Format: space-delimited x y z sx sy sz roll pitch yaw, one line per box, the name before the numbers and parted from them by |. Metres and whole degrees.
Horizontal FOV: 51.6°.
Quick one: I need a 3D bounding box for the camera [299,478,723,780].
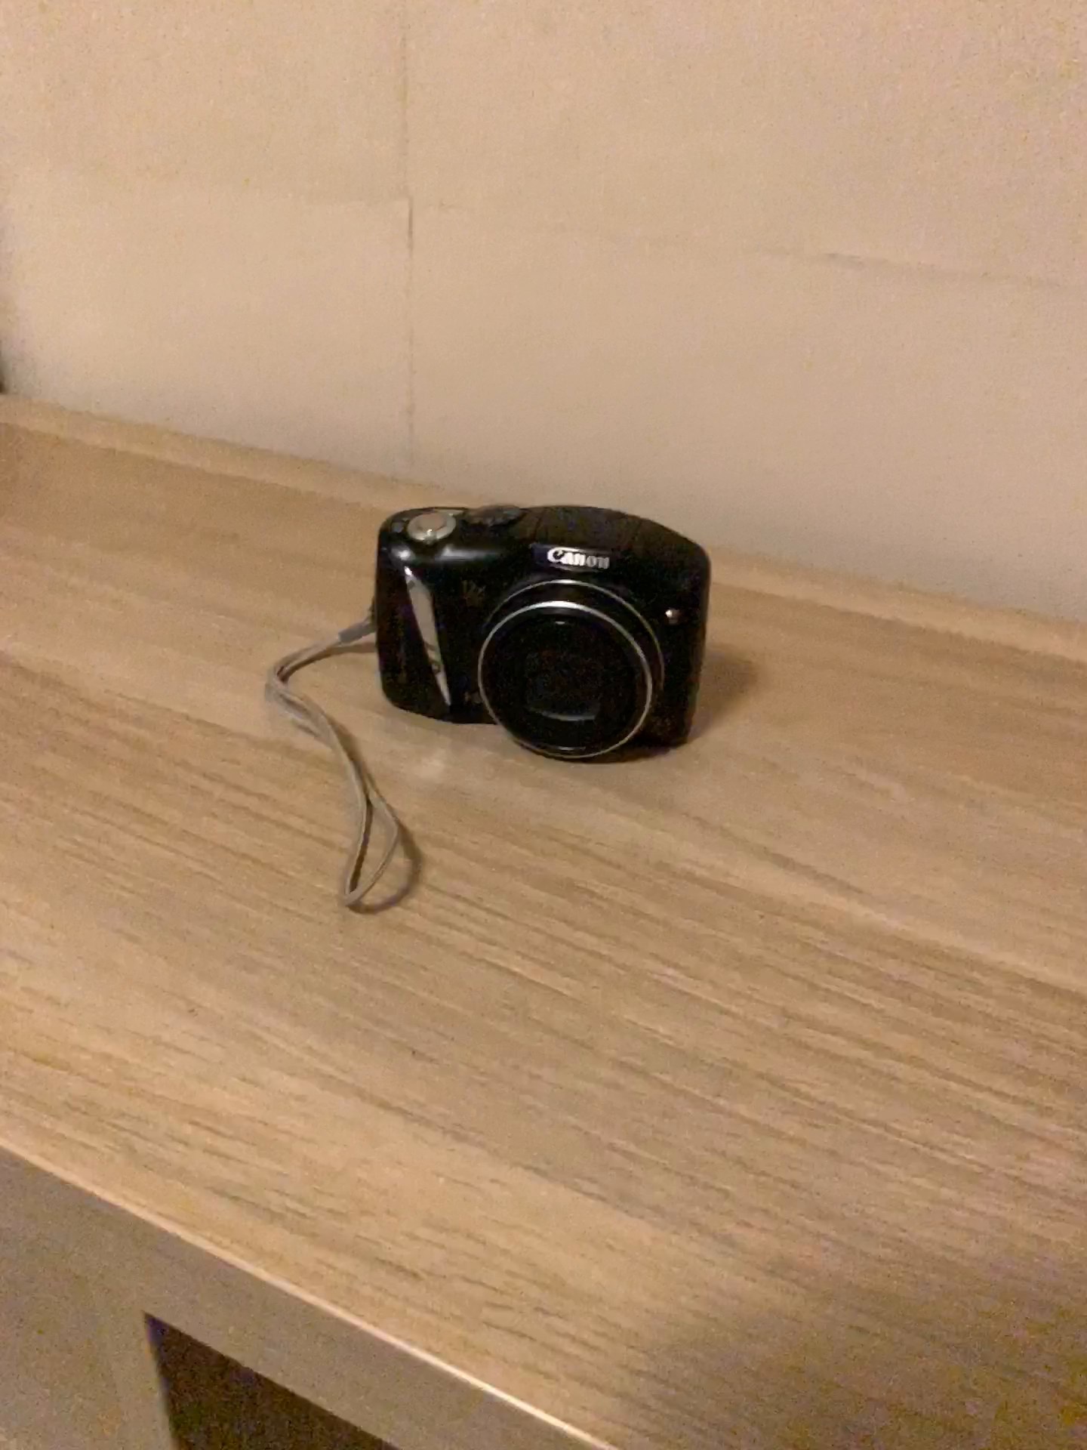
camera | -0.007 -0.034 0.359 0.120 0.059 0.069 7 30 6
